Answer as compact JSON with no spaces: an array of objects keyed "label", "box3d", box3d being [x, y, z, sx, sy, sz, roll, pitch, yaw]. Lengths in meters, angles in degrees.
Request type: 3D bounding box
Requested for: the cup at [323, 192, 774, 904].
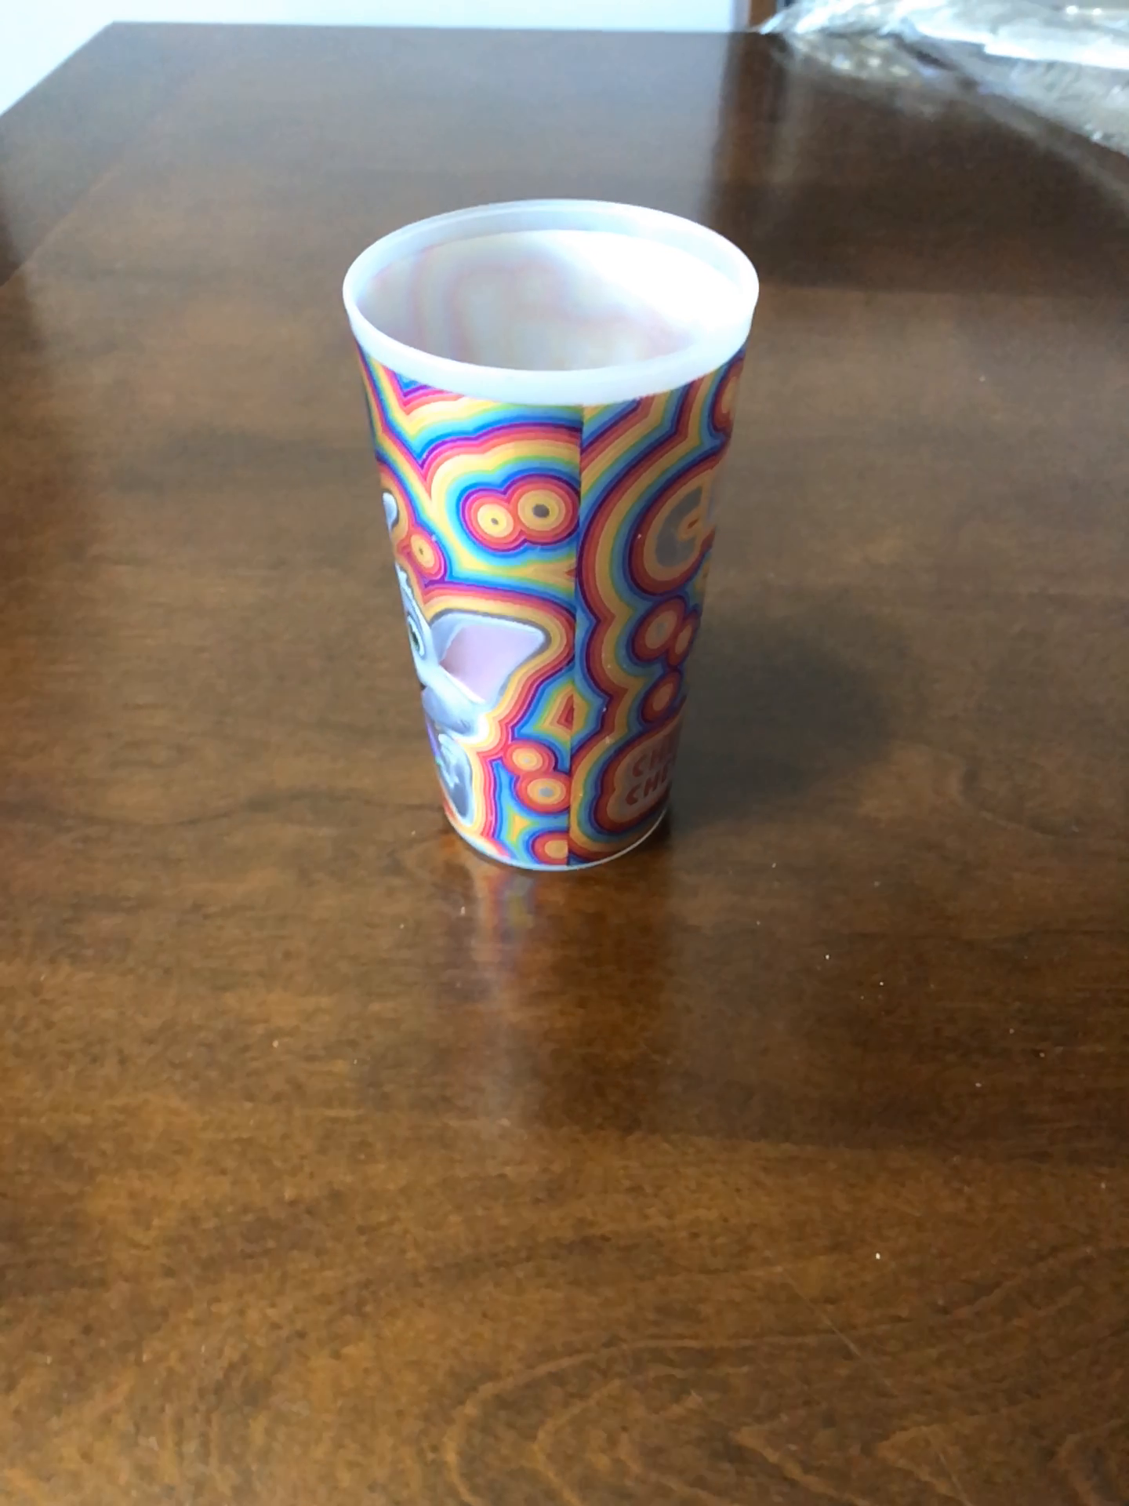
[{"label":"cup","box3d":[-0.001,-0.038,0.266,0.070,0.130,0.070,0,43,0]}]
